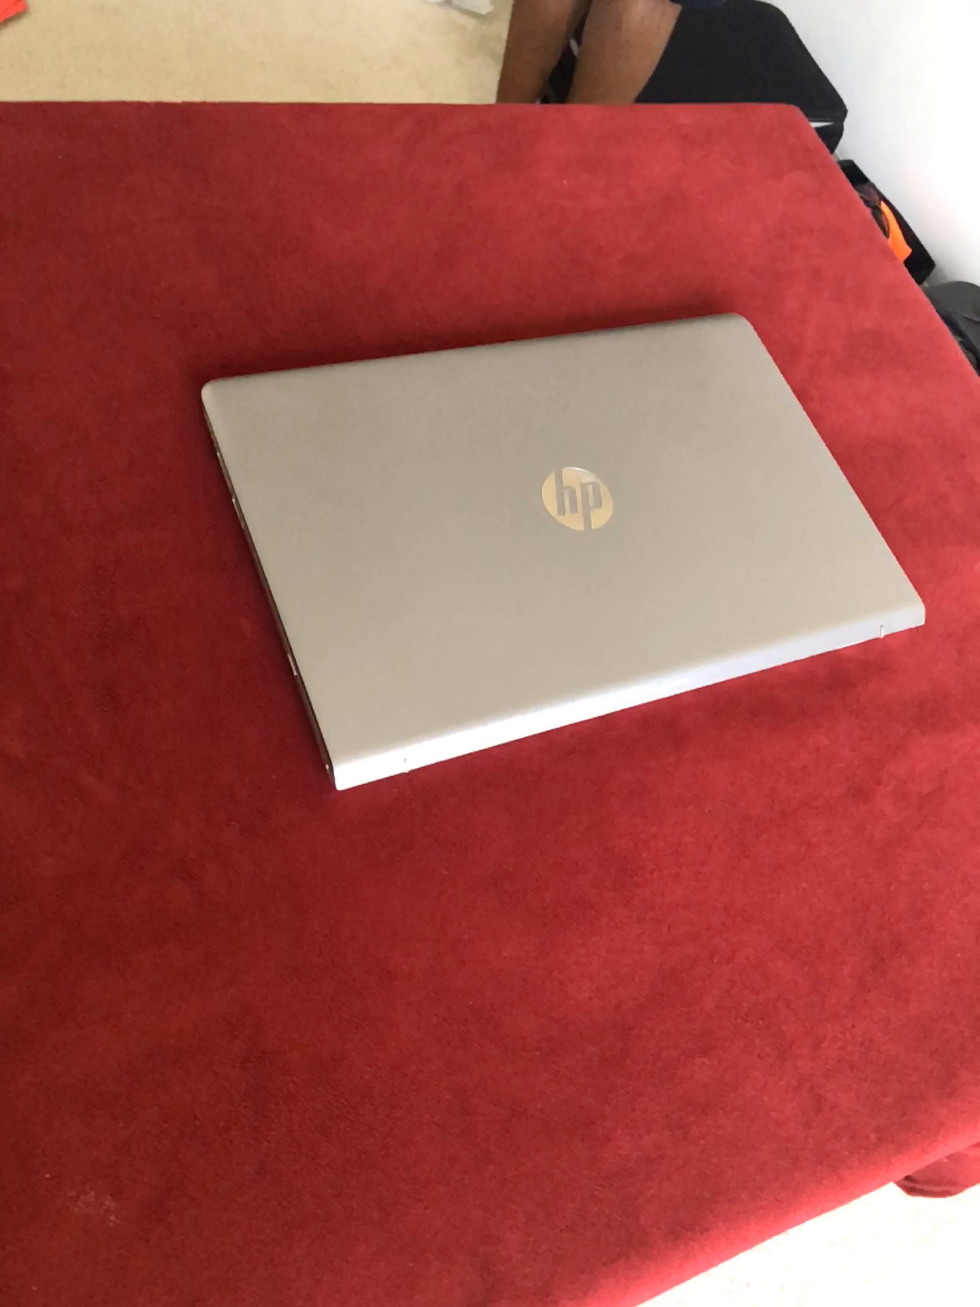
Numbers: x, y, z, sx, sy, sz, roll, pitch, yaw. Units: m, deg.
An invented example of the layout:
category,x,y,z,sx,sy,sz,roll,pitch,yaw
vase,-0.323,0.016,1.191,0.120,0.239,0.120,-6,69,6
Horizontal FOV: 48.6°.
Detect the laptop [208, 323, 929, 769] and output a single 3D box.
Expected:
category,x,y,z,sx,sy,sz,roll,pitch,yaw
laptop,0.052,-0.086,0.628,0.372,0.006,0.234,-14,64,-22
